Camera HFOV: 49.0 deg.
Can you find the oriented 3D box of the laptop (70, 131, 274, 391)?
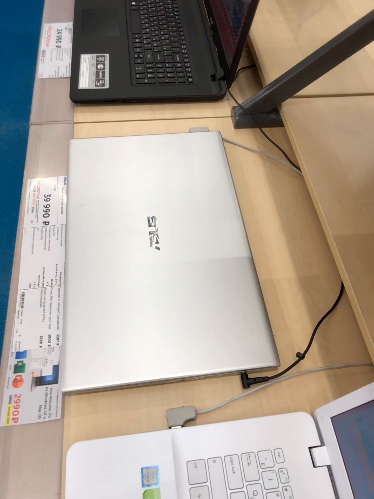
[{"bbox_3d":[-0.040,-0.019,0.572,0.232,0.006,0.393,-6,58,-5],"label":"laptop"}]
